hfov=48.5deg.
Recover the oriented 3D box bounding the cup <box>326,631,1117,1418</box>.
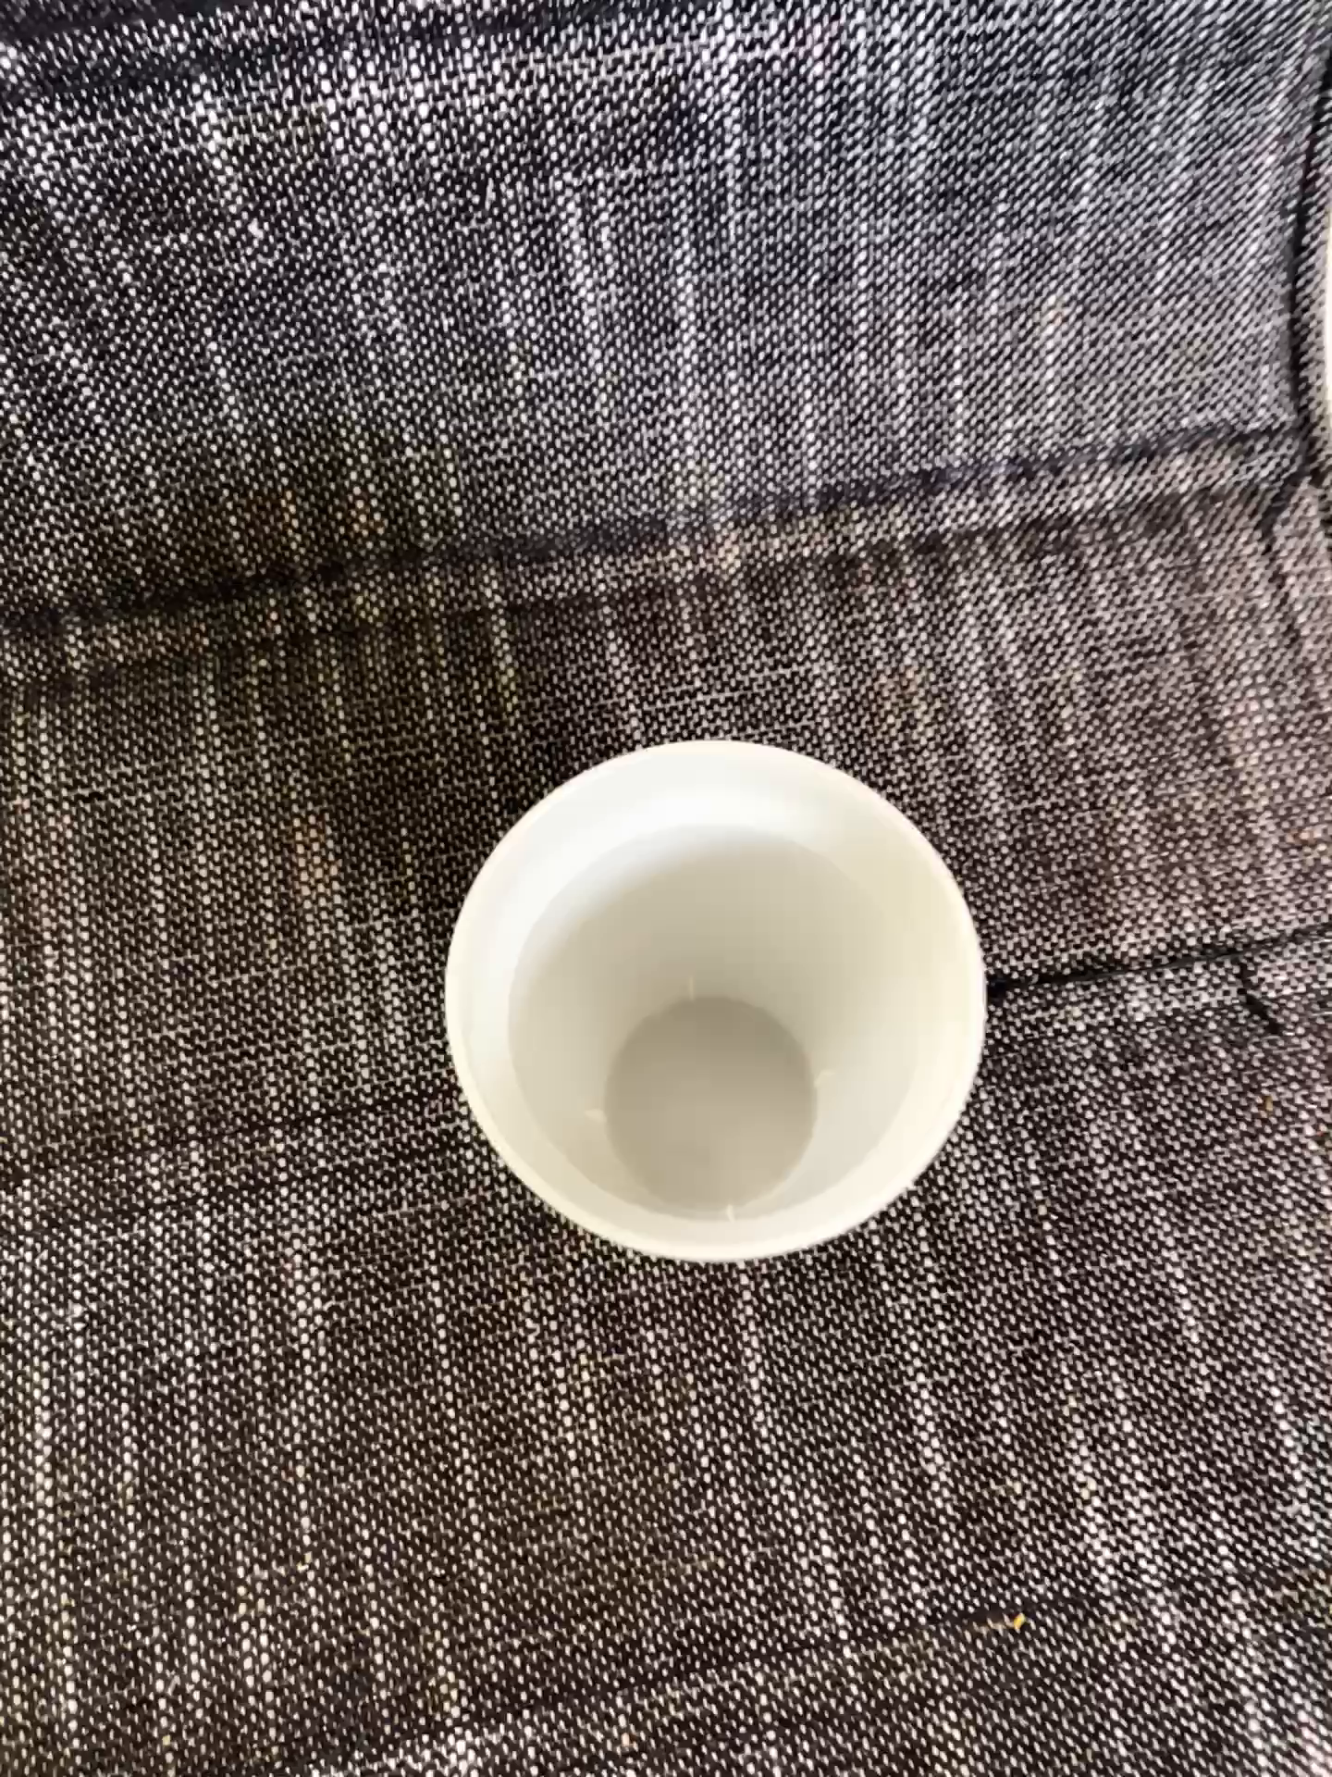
[{"bbox_3d":[0.008,0.029,0.264,0.080,0.110,0.080,0,76,0],"label":"cup"}]
